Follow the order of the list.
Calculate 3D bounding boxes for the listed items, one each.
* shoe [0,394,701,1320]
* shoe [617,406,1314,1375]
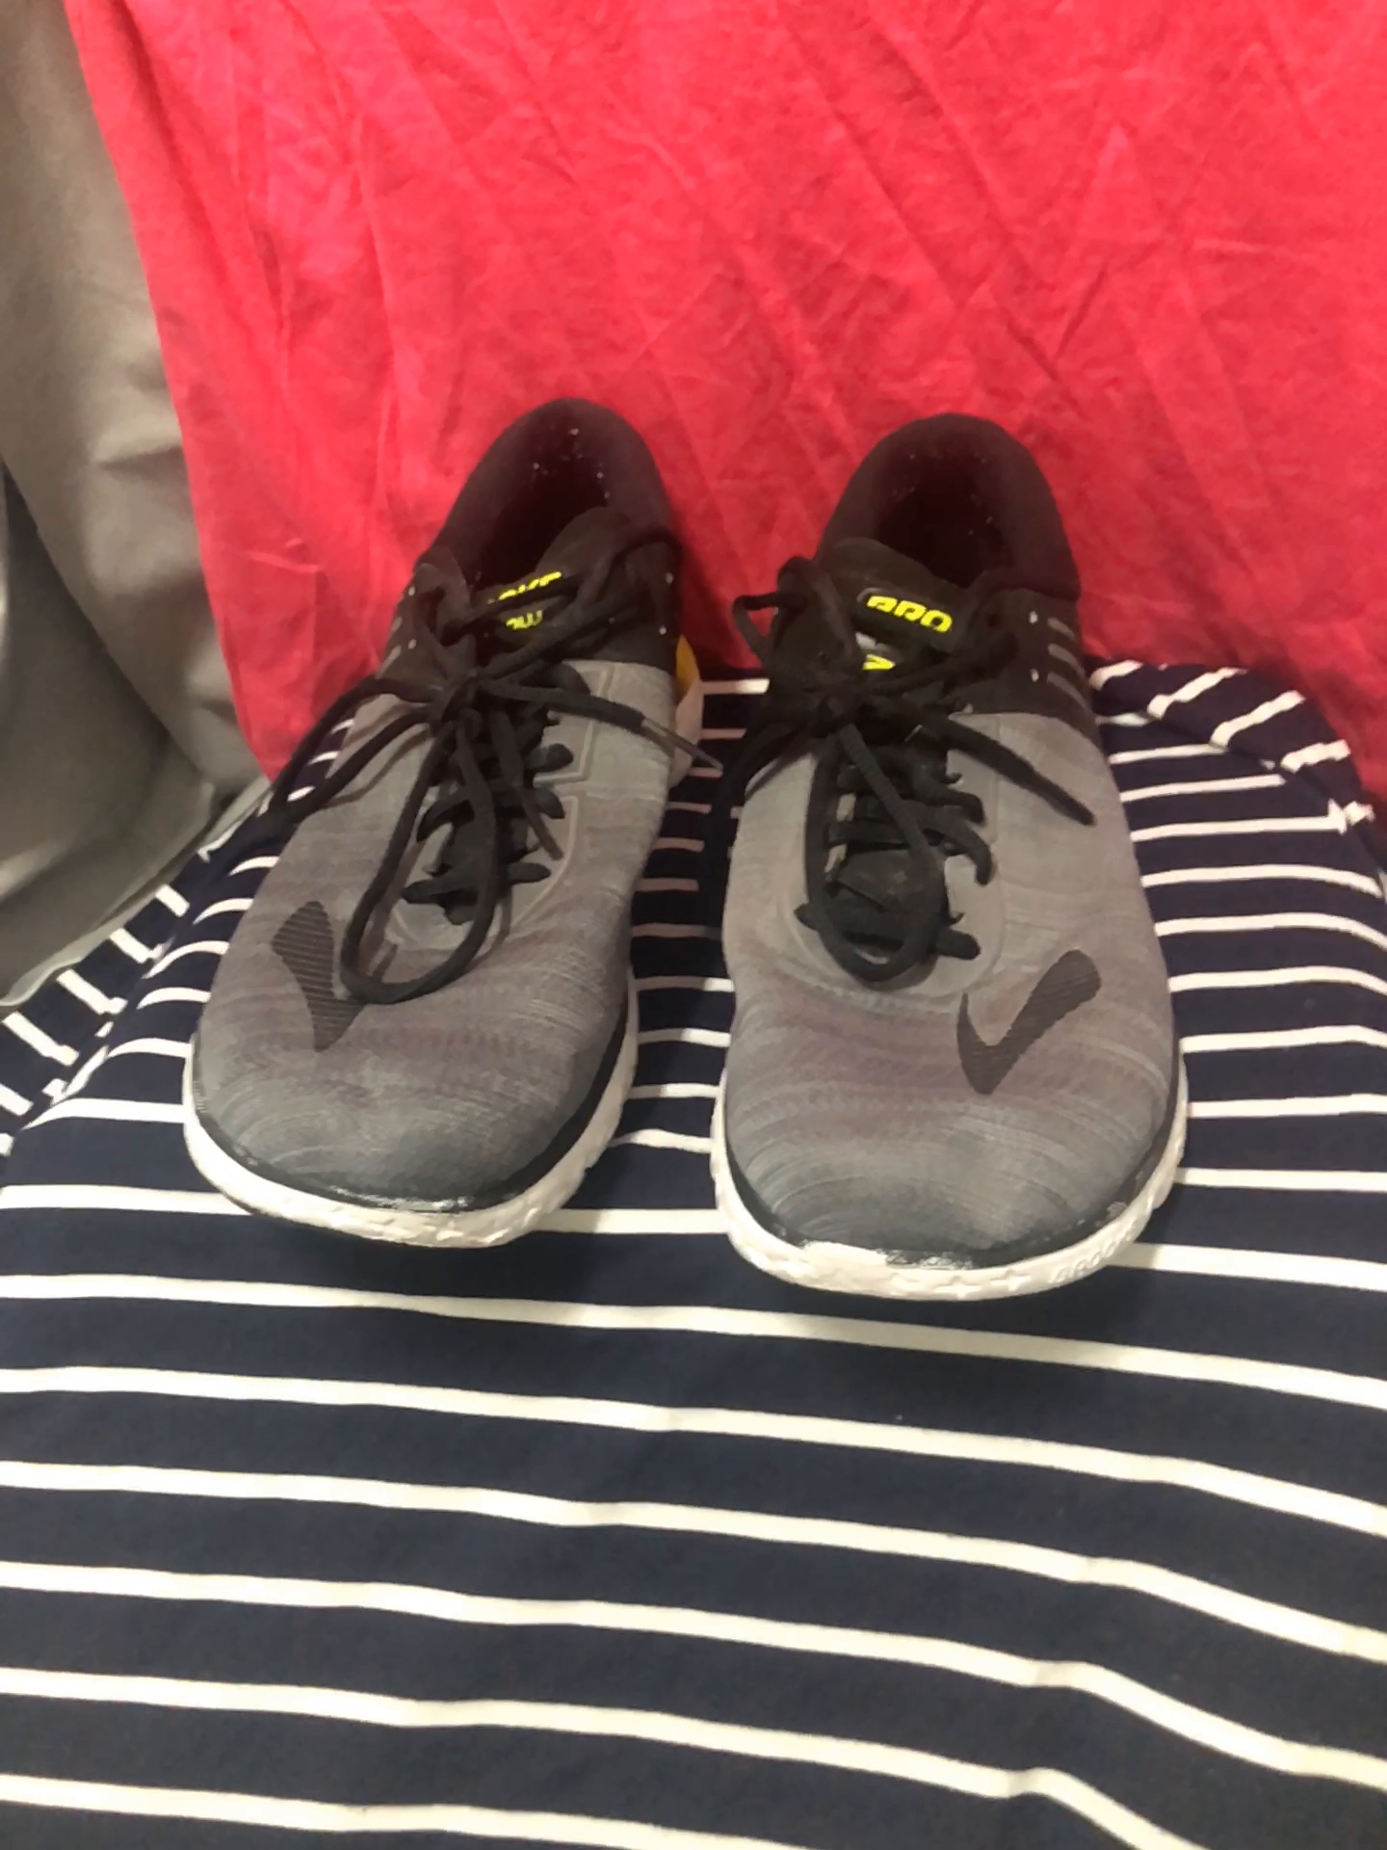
[{"bbox_3d":[-0.062,-0.046,0.385,0.102,0.079,0.293,1,37,5],"label":"shoe"},{"bbox_3d":[0.055,-0.038,0.366,0.104,0.079,0.283,2,37,6],"label":"shoe"}]
